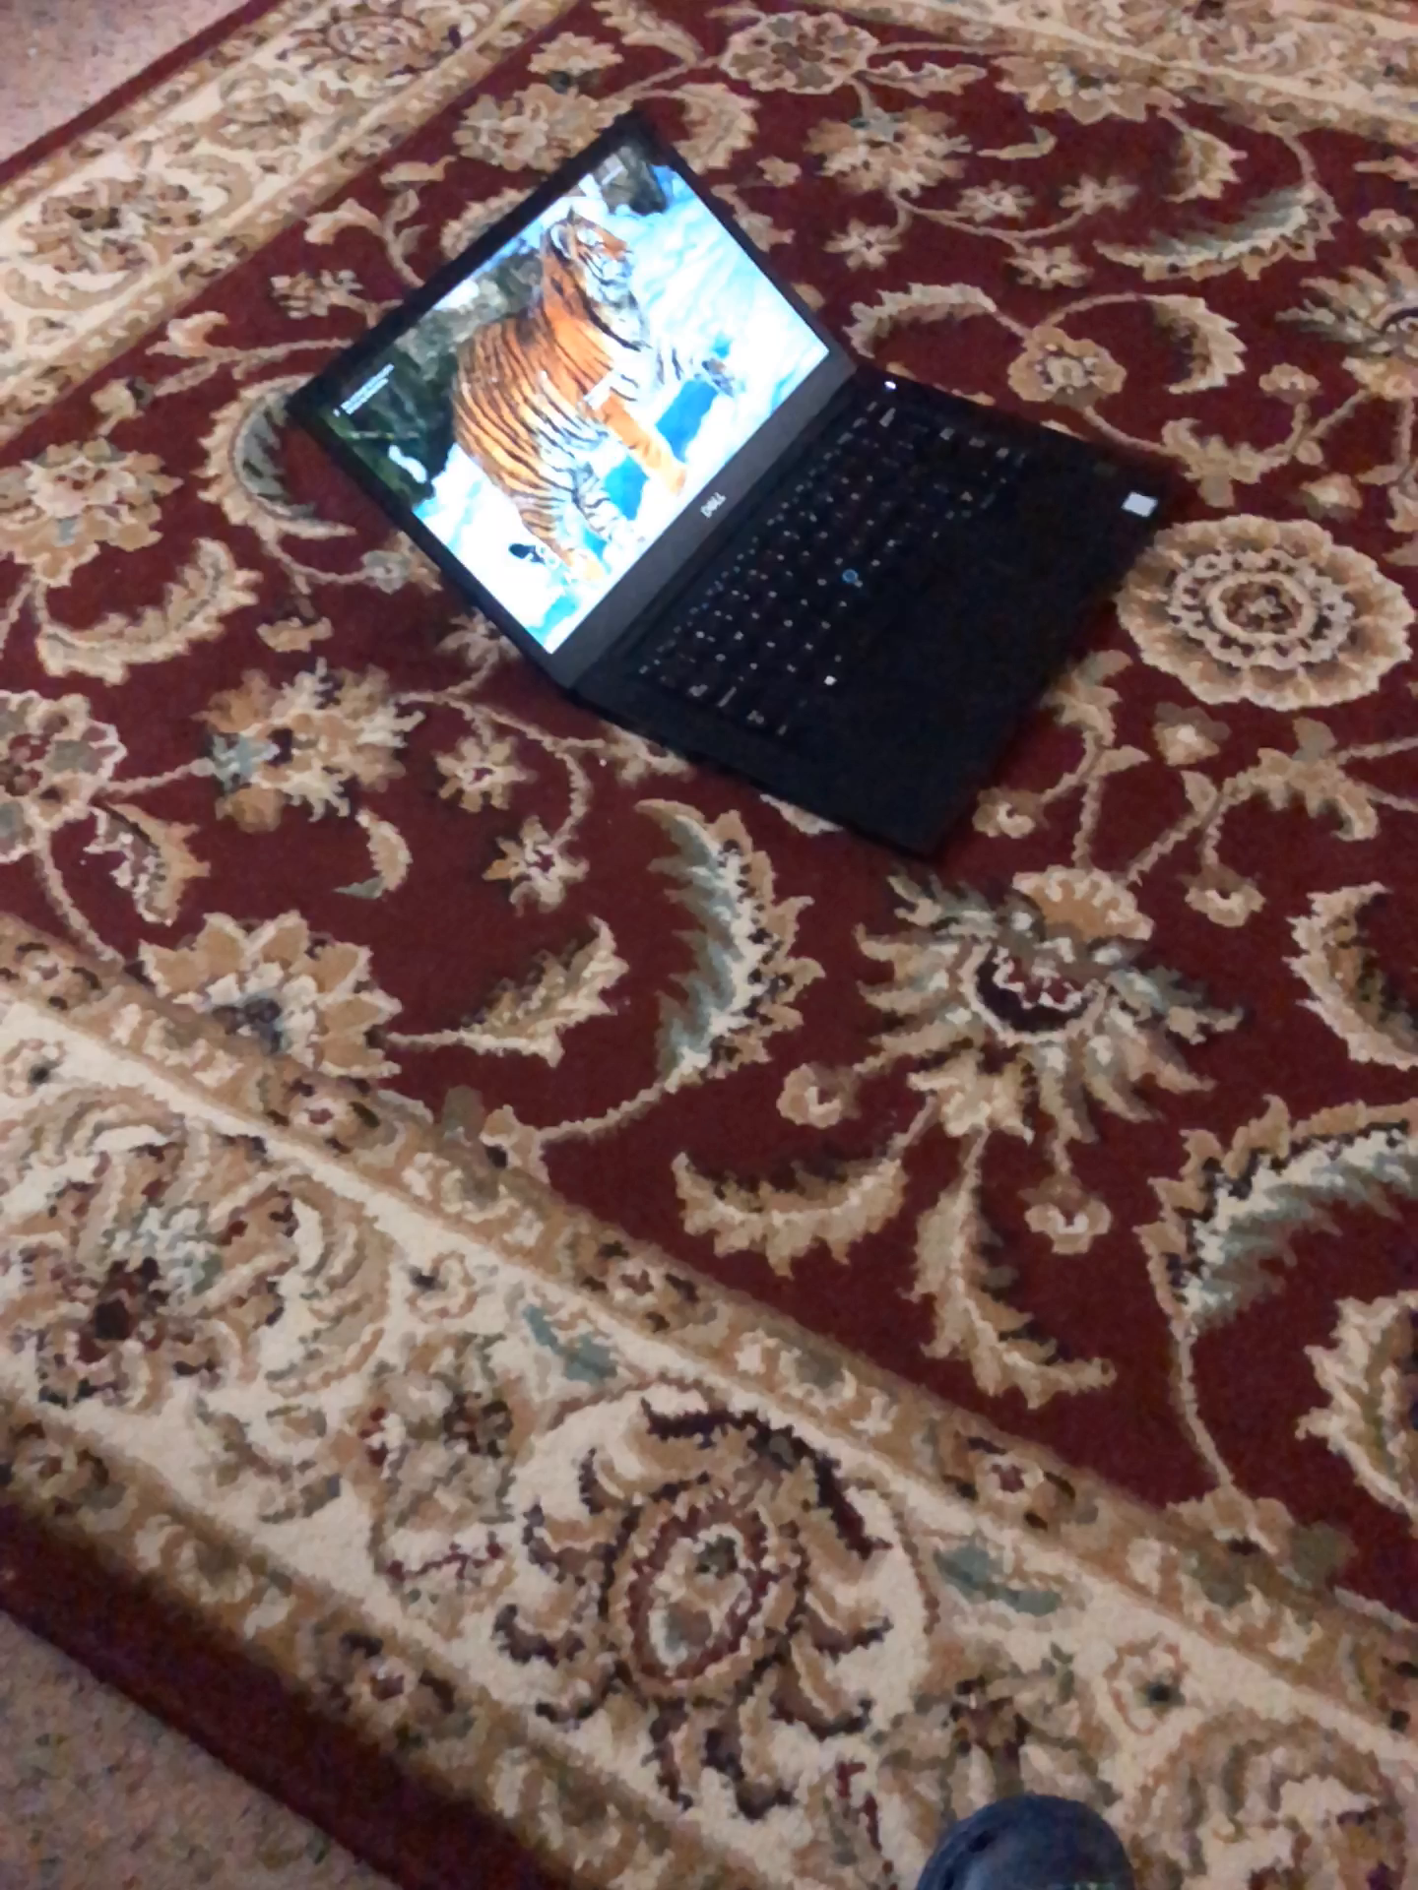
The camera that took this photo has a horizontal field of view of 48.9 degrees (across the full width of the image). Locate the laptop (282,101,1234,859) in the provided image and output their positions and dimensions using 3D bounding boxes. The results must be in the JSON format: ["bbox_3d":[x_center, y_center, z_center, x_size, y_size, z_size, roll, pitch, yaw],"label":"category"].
[{"bbox_3d":[0.032,-0.278,0.866,0.384,0.124,0.328,27,61,18],"label":"laptop"}]
